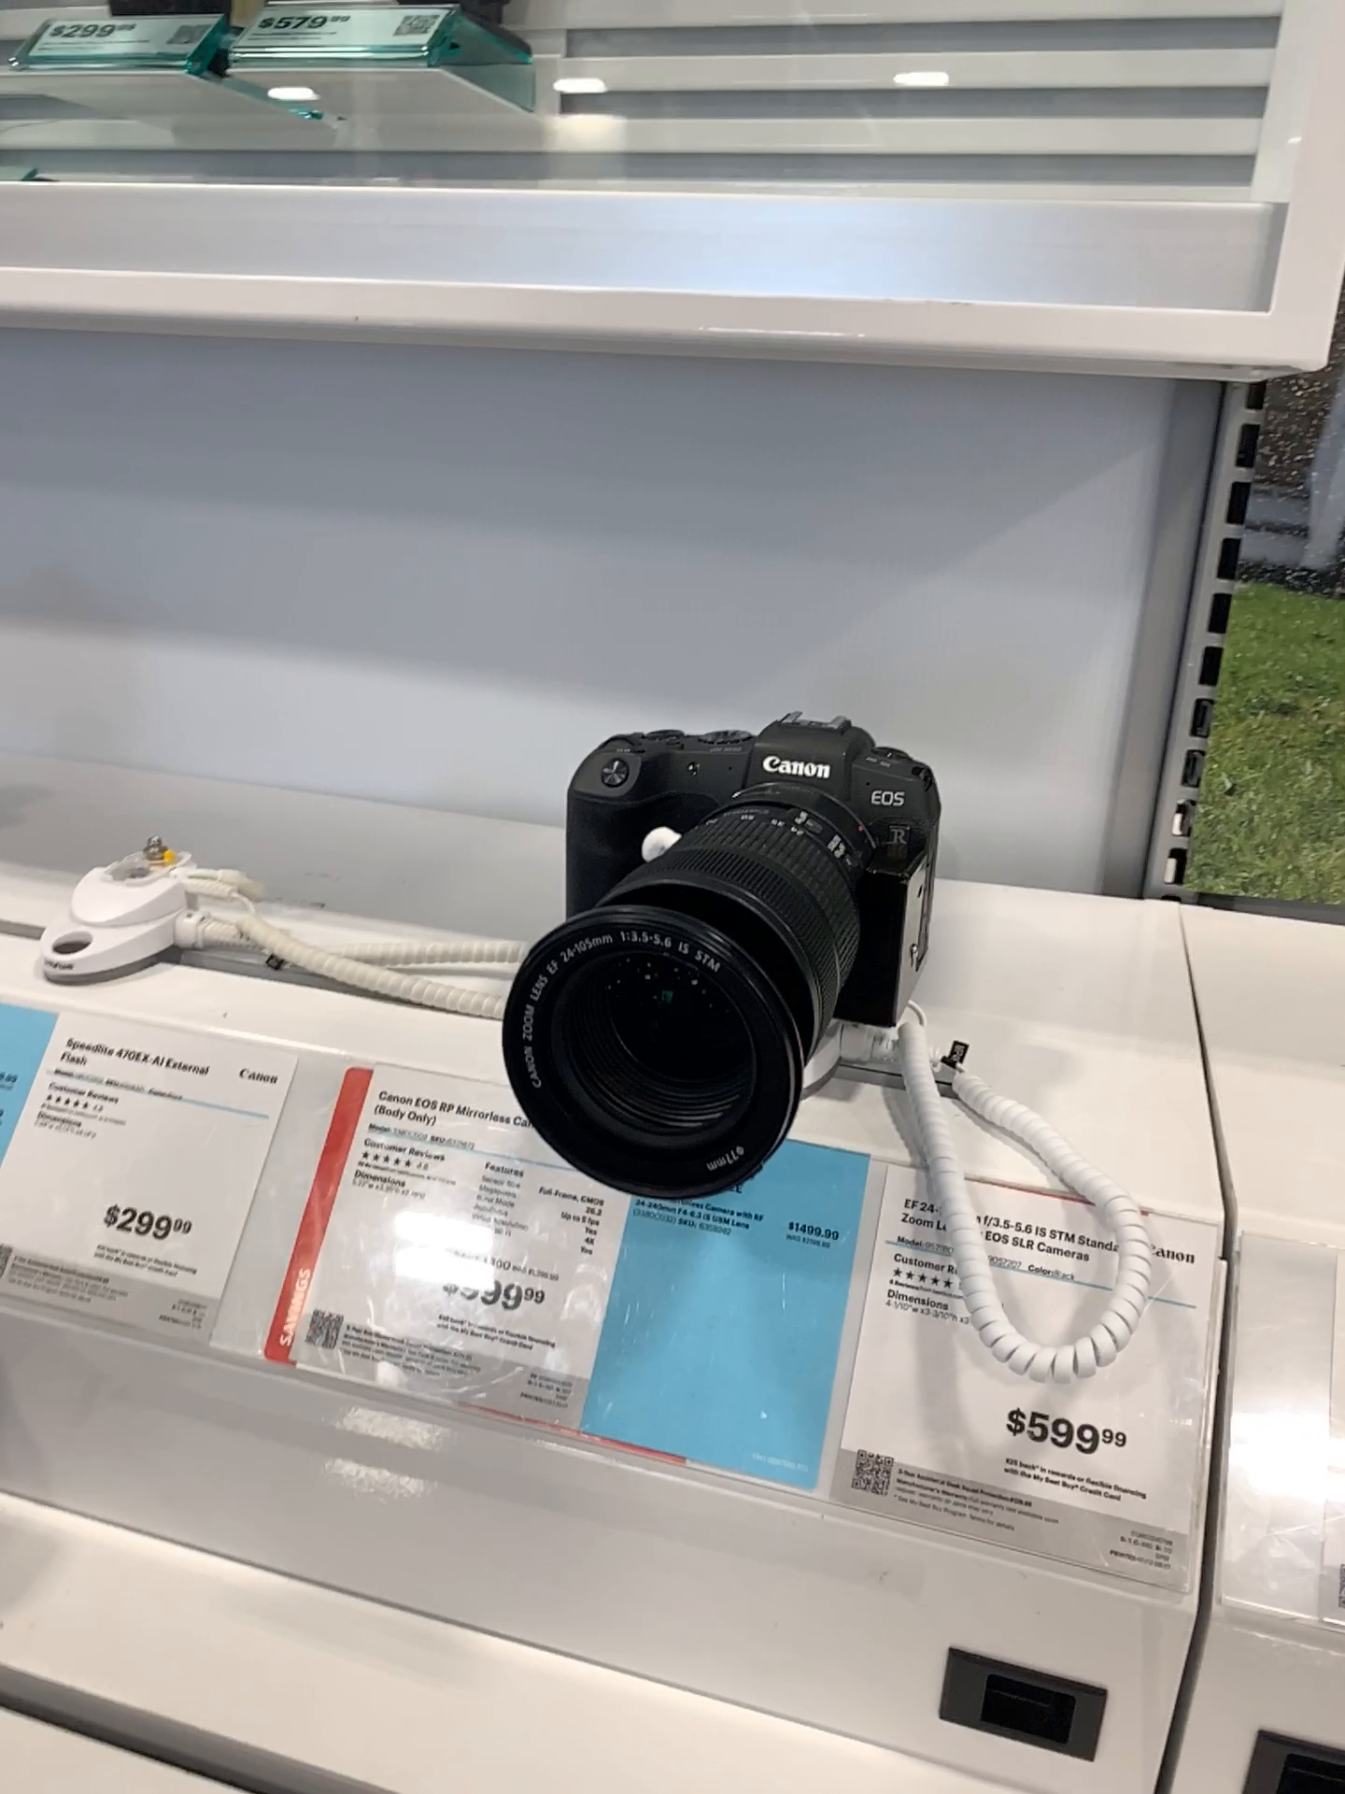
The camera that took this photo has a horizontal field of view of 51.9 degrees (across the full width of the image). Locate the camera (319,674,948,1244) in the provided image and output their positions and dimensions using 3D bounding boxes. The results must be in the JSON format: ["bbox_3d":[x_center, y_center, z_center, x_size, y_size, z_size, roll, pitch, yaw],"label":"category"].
[{"bbox_3d":[0.002,0.001,0.444,0.132,0.100,0.200,8,21,18],"label":"camera"}]
